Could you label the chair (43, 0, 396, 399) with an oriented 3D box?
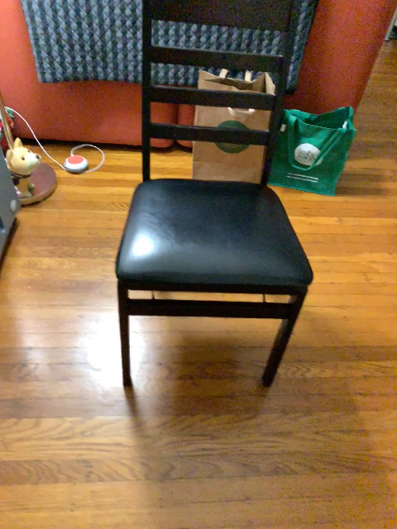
[{"bbox_3d":[0.036,-0.152,0.922,0.490,0.866,0.553,0,48,-6],"label":"chair"}]
